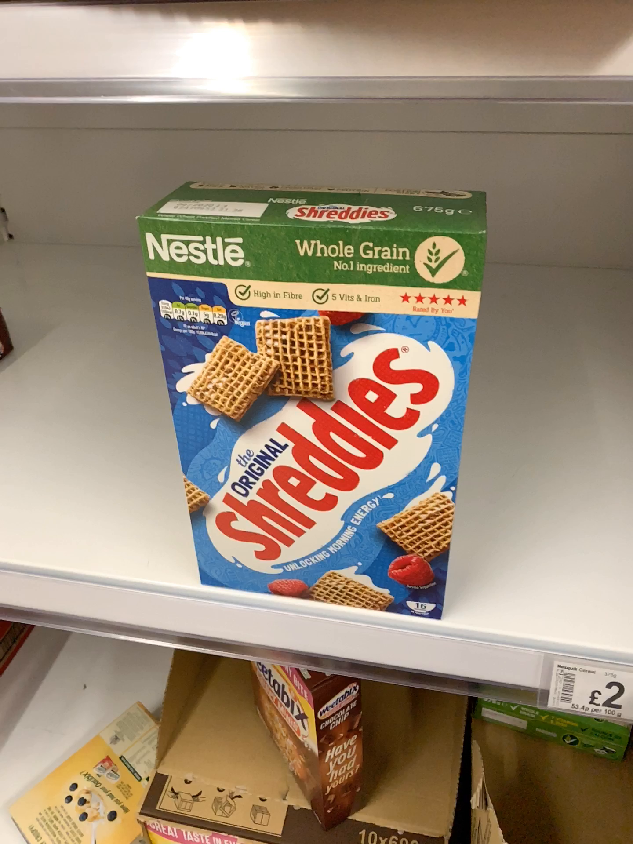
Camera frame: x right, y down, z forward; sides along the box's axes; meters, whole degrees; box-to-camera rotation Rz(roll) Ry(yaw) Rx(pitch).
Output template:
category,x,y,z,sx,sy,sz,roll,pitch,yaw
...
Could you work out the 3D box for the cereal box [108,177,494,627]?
category,x,y,z,sx,sy,sz,roll,pitch,yaw
cereal box,-0.001,-0.004,0.440,0.200,0.287,0.081,6,35,11
